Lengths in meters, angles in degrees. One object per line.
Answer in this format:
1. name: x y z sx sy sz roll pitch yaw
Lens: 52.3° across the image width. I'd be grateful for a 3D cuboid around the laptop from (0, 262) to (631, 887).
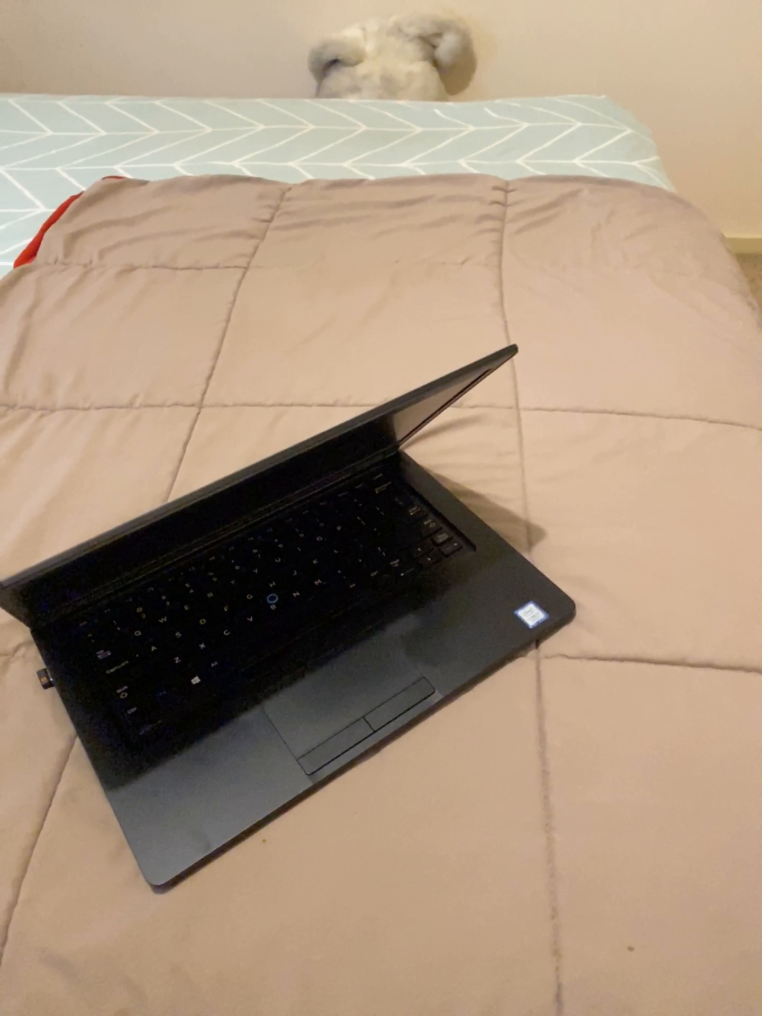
1. laptop: -0.058 0.017 0.511 0.335 0.183 0.227 -28 50 -23
